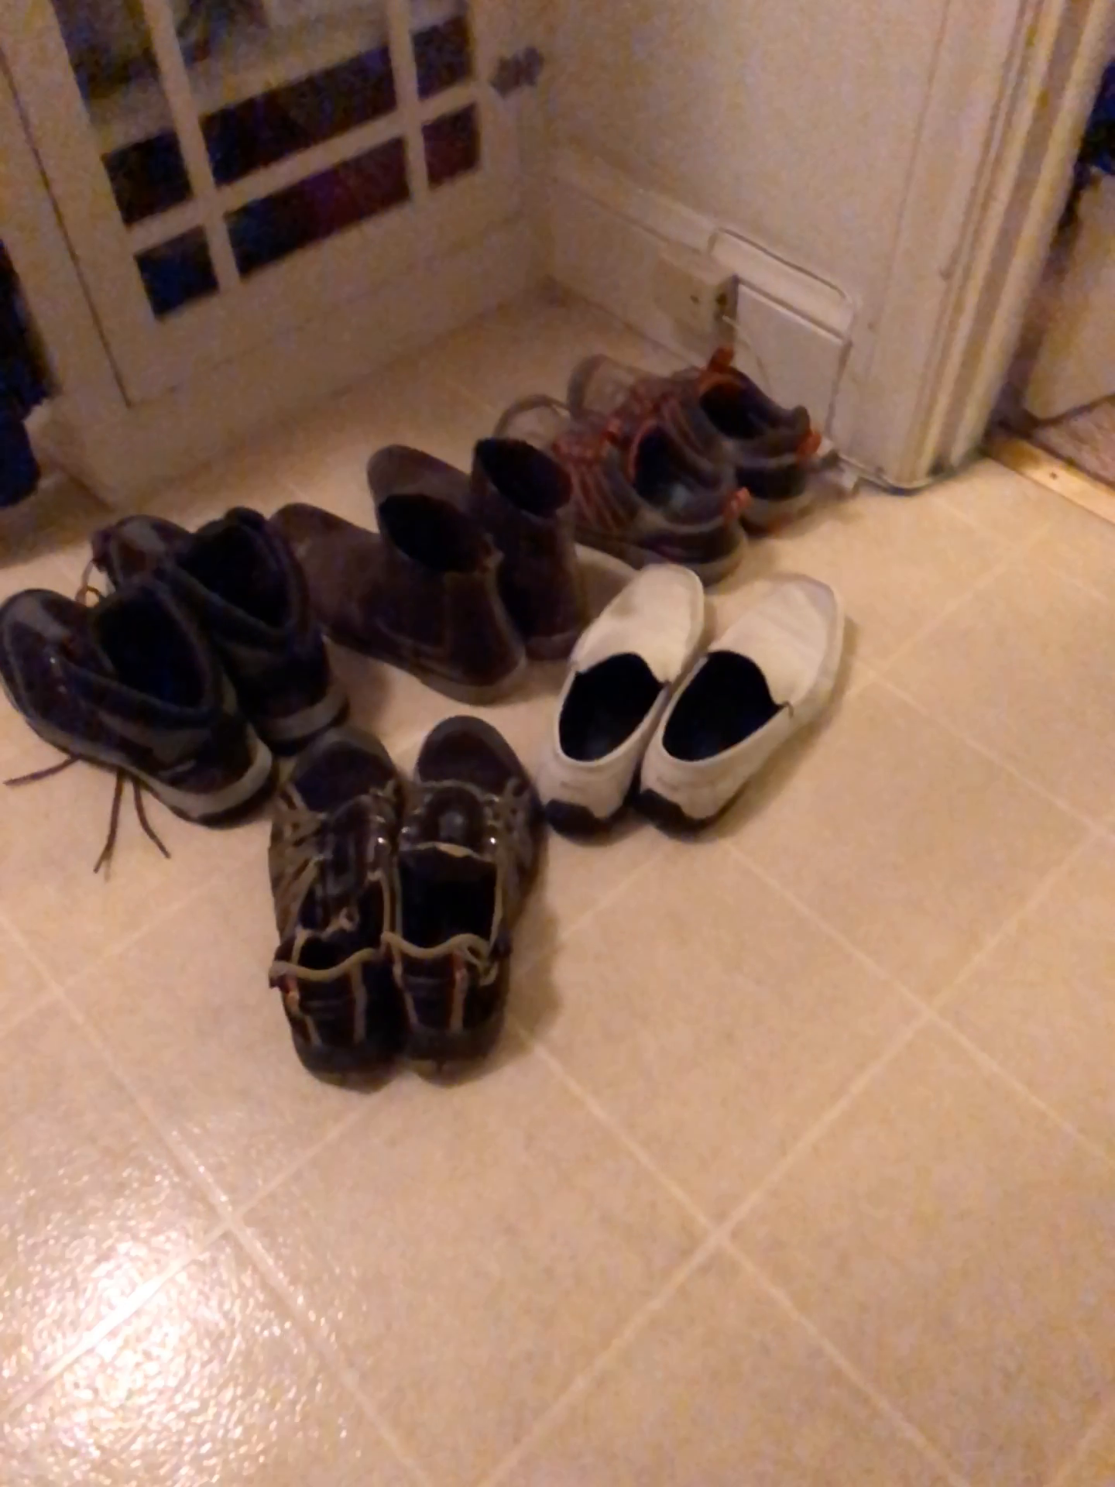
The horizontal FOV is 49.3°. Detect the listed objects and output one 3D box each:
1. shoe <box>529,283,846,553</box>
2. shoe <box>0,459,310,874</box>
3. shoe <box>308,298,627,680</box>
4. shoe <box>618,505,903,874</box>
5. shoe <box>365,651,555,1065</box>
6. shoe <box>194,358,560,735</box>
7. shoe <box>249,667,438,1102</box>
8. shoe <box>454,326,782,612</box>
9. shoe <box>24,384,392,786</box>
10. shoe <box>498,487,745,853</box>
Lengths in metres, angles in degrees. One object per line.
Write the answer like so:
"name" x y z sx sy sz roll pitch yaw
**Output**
"shoe" 0.123 -0.337 1.241 0.314 0.113 0.110 36 61 26
"shoe" -0.375 -0.066 1.005 0.324 0.192 0.110 32 59 23
"shoe" -0.085 -0.244 1.148 0.110 0.192 0.324 -33 58 -22
"shoe" 0.176 -0.054 1.041 0.110 0.113 0.304 25 57 19
"shoe" -0.065 0.081 0.937 0.110 0.122 0.295 1 52 2
"shoe" -0.158 -0.181 1.103 0.324 0.192 0.110 33 60 24
"shoe" -0.165 0.099 0.921 0.110 0.122 0.295 -8 52 -5
"shoe" 0.052 -0.274 1.186 0.314 0.113 0.110 36 61 26
"shoe" -0.304 -0.143 1.073 0.110 0.192 0.324 -39 61 -25
"shoe" 0.061 -0.072 1.055 0.110 0.113 0.304 17 54 14
